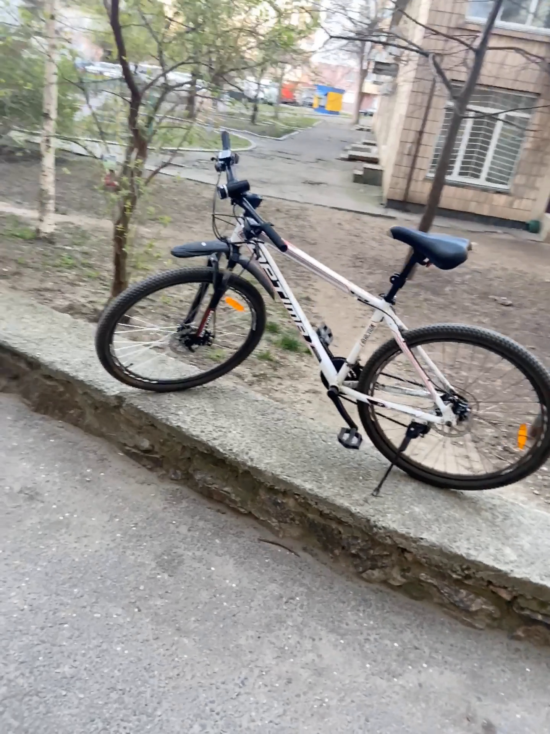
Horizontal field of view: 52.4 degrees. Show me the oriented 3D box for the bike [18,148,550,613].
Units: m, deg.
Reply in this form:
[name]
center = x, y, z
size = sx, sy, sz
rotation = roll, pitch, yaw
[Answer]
[bike]
center = 0.160, -0.035, 1.942
size = 1.750, 1.144, 0.682
rotation = 12, 26, 10
